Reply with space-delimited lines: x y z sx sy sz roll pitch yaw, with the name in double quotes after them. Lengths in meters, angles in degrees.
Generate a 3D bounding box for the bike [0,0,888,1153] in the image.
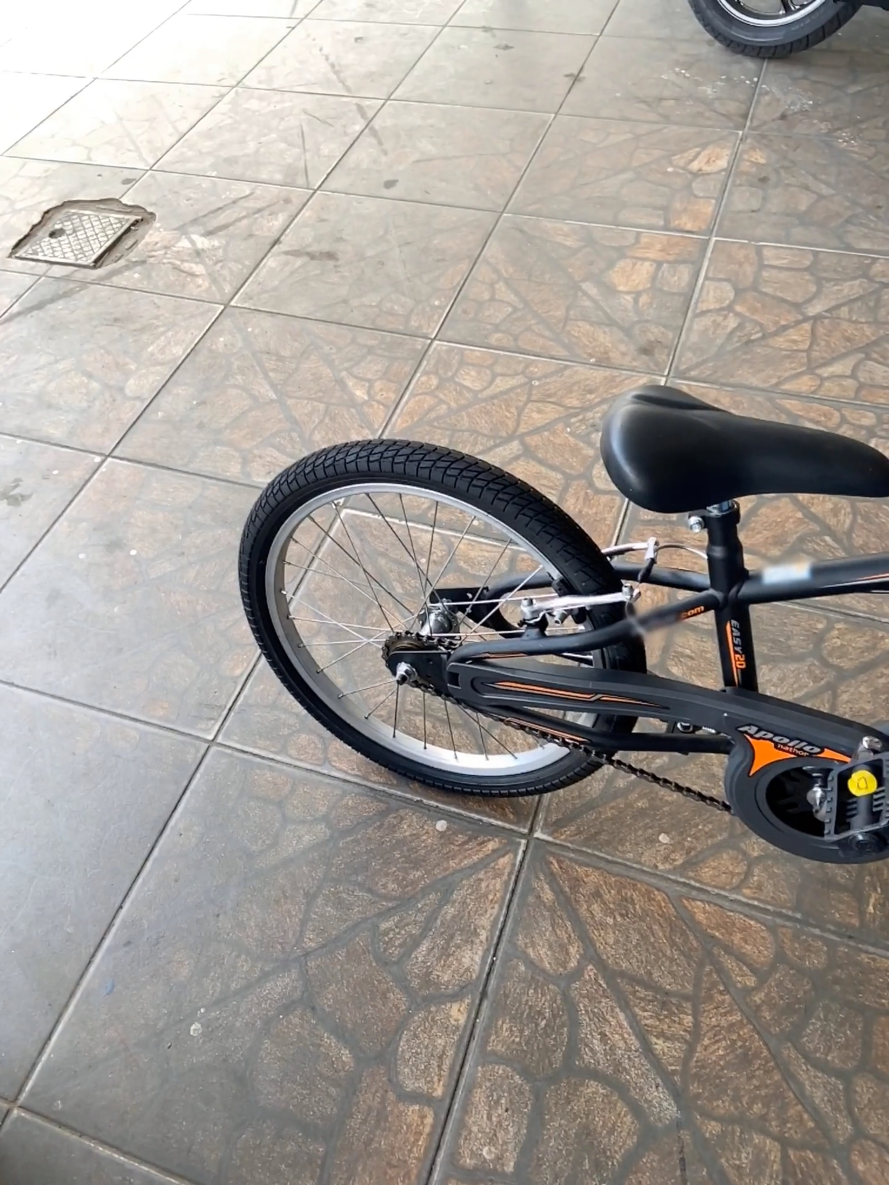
0.414 -0.087 0.858 1.349 0.980 0.726 9 54 9 "bike"
